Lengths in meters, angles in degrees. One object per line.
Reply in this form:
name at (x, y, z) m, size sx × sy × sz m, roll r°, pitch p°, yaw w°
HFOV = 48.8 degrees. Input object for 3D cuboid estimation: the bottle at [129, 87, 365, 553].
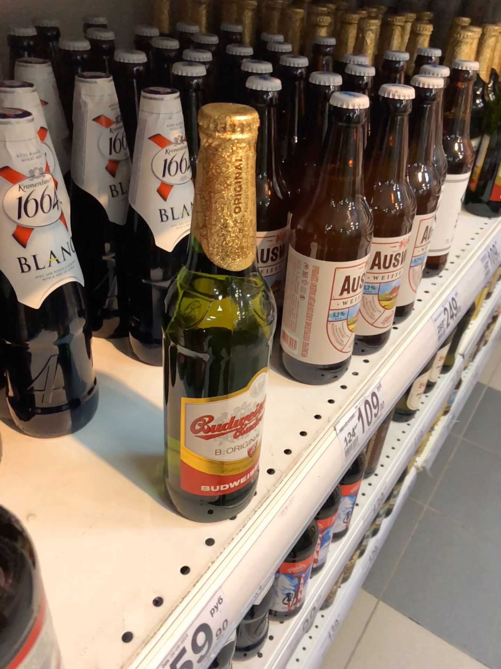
bottle at (-0.012, 0.003, 0.320) m, size 0.080 × 0.254 × 0.070 m, roll -22°, pitch 43°, yaw -34°
